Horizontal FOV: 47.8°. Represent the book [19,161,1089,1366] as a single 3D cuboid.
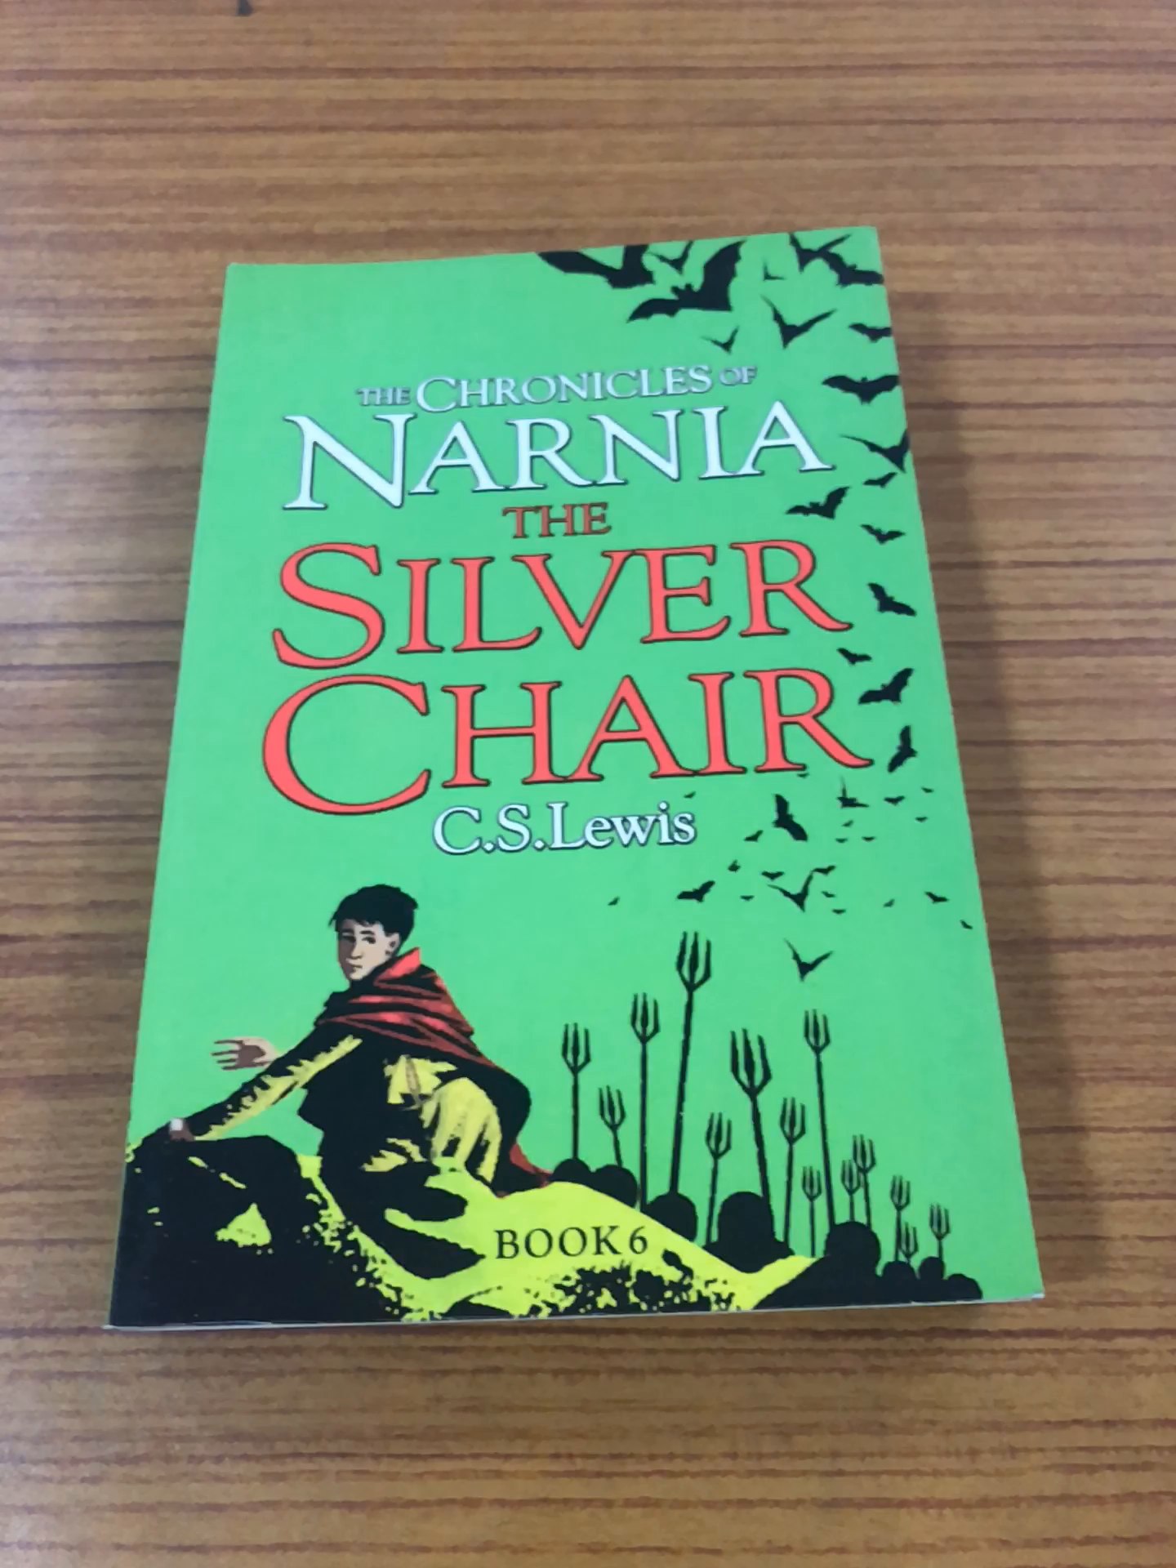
[{"bbox_3d":[-0.007,-0.016,0.229,0.140,0.030,0.210,-2,67,0],"label":"book"}]
